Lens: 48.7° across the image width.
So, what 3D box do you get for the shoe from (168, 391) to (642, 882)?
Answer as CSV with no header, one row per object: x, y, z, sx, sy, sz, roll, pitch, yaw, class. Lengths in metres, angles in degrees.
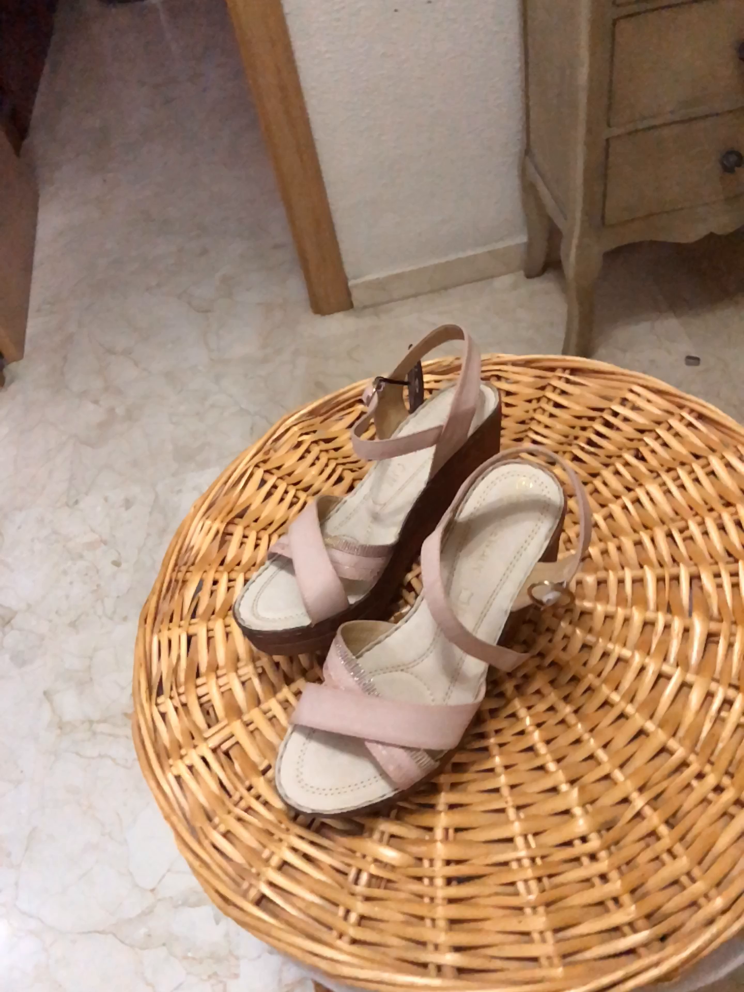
0.030,0.071,0.475,0.251,0.100,0.112,-42,55,-20,shoe

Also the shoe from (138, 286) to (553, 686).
-0.005,-0.014,0.554,0.261,0.104,0.100,-38,54,-18,shoe
